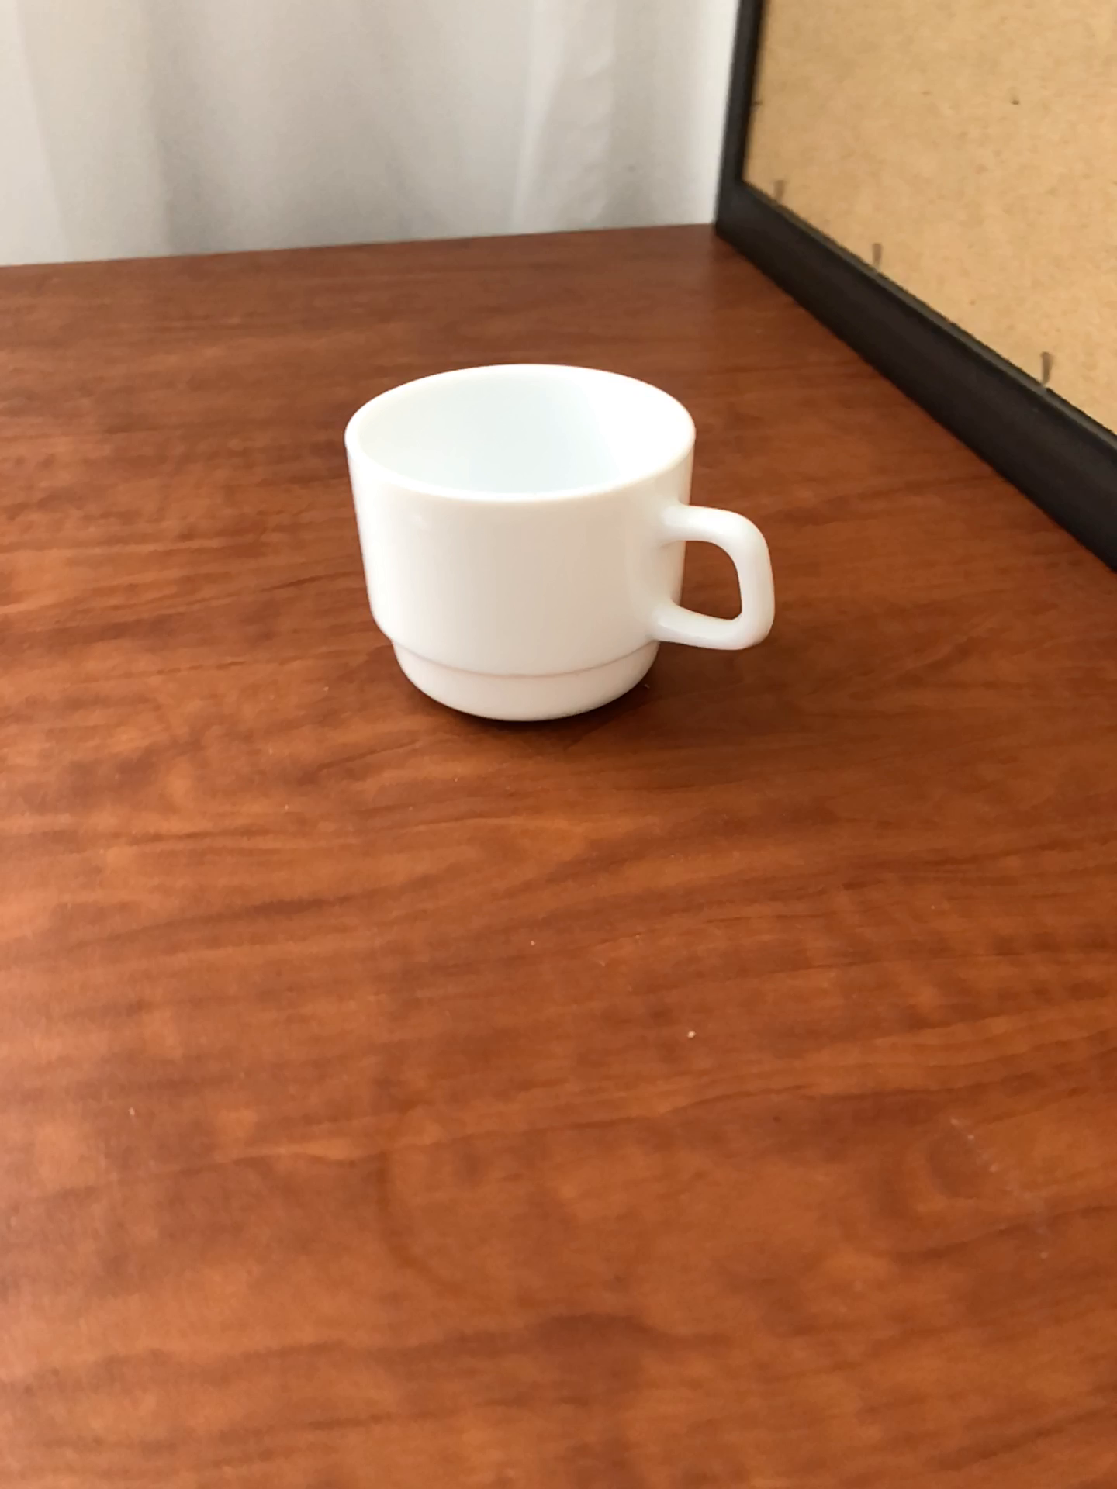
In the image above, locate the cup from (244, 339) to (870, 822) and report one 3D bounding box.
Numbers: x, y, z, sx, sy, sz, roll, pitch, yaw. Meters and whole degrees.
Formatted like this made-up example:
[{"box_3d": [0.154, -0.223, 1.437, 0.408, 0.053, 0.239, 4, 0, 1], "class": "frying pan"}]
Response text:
[{"box_3d": [0.000, -0.049, 0.308, 0.120, 0.060, 0.087, 22, 41, 28], "class": "cup"}]
